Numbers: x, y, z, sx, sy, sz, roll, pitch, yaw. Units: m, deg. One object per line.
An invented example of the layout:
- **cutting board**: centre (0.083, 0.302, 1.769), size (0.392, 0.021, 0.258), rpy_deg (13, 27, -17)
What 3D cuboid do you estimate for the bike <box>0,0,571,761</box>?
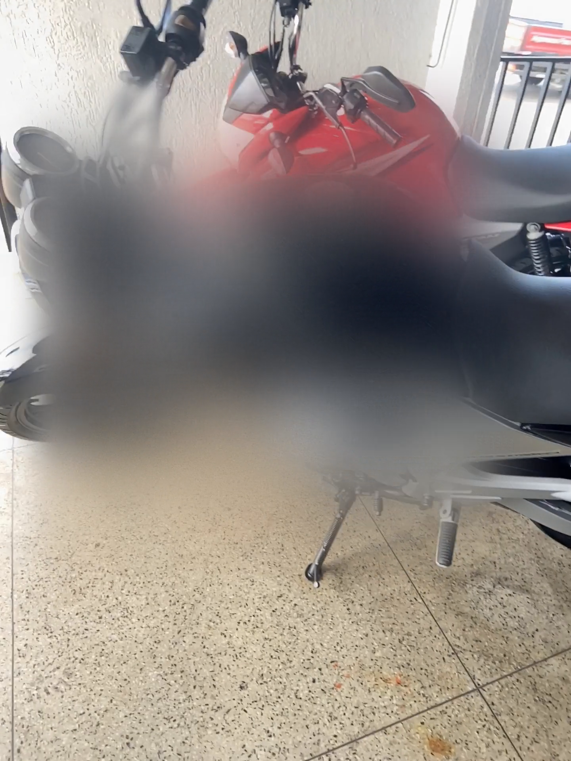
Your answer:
- **bike**: centre (0.278, 0.000, 1.222), size (1.877, 1.510, 0.848), rpy_deg (6, 36, 0)
